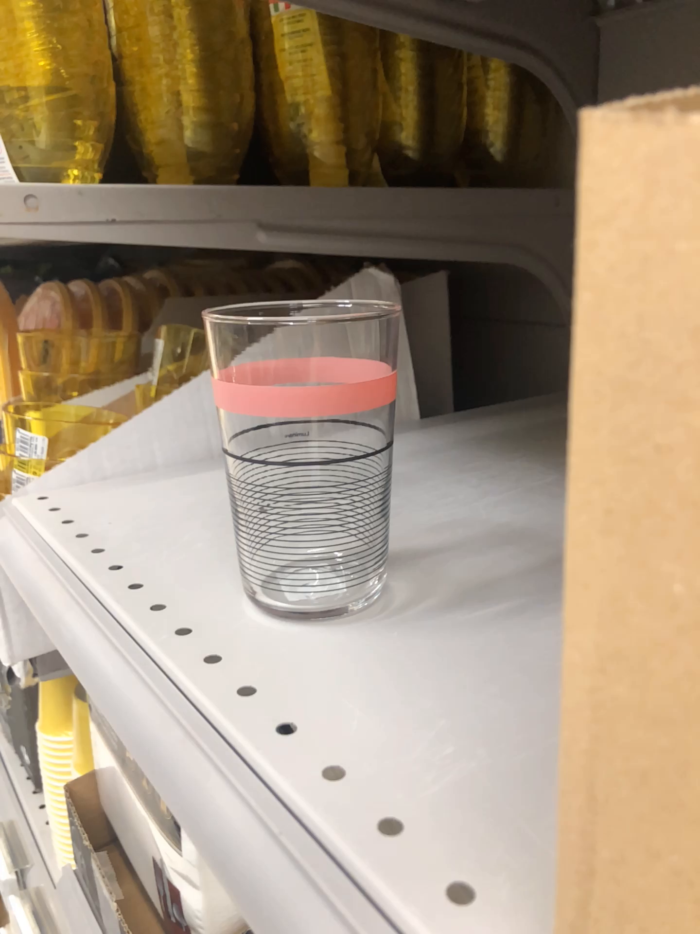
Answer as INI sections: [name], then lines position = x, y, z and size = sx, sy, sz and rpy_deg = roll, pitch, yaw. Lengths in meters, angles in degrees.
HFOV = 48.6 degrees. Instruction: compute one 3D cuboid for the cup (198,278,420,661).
[cup]
position = -0.017, -0.005, 0.296
size = 0.063, 0.123, 0.074
rpy_deg = -8, 16, -9
